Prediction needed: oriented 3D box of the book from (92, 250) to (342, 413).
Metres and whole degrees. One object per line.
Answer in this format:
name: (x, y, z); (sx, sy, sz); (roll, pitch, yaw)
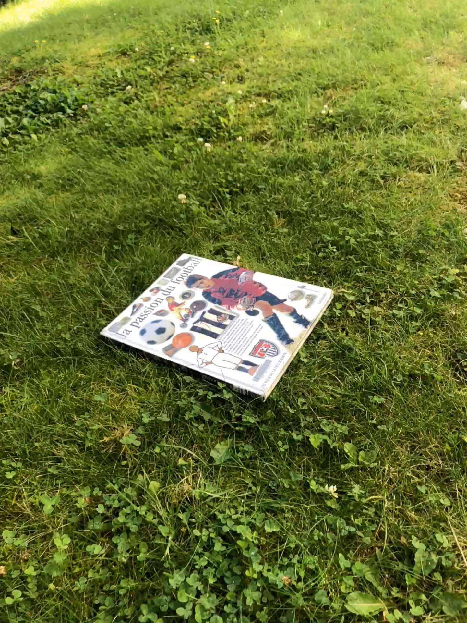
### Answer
book: (-0.024, 0.009, 0.773); (0.300, 0.020, 0.231); (16, 48, 28)
